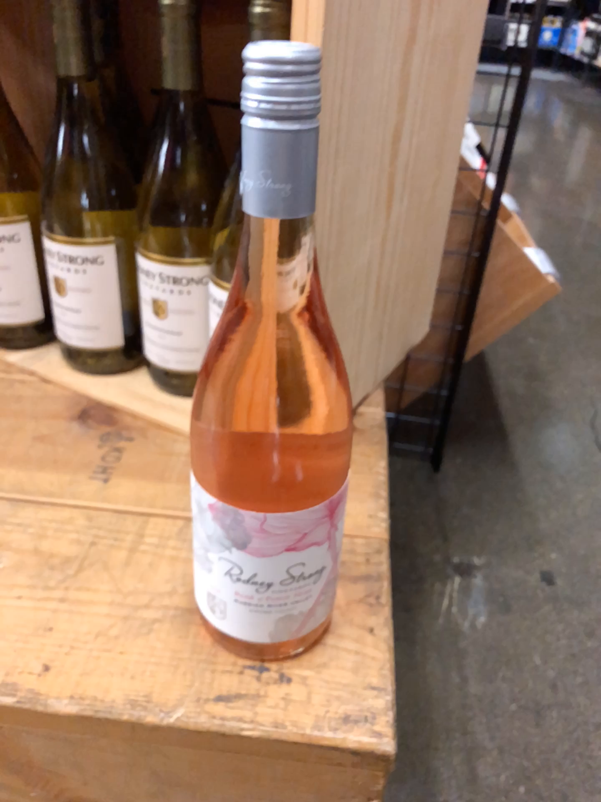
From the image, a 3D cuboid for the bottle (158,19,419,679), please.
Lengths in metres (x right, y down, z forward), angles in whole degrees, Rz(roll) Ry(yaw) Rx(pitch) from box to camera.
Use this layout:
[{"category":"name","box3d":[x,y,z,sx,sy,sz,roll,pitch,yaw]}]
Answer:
[{"category":"bottle","box3d":[-0.017,0.000,0.323,0.080,0.309,0.082,3,32,-2]}]
